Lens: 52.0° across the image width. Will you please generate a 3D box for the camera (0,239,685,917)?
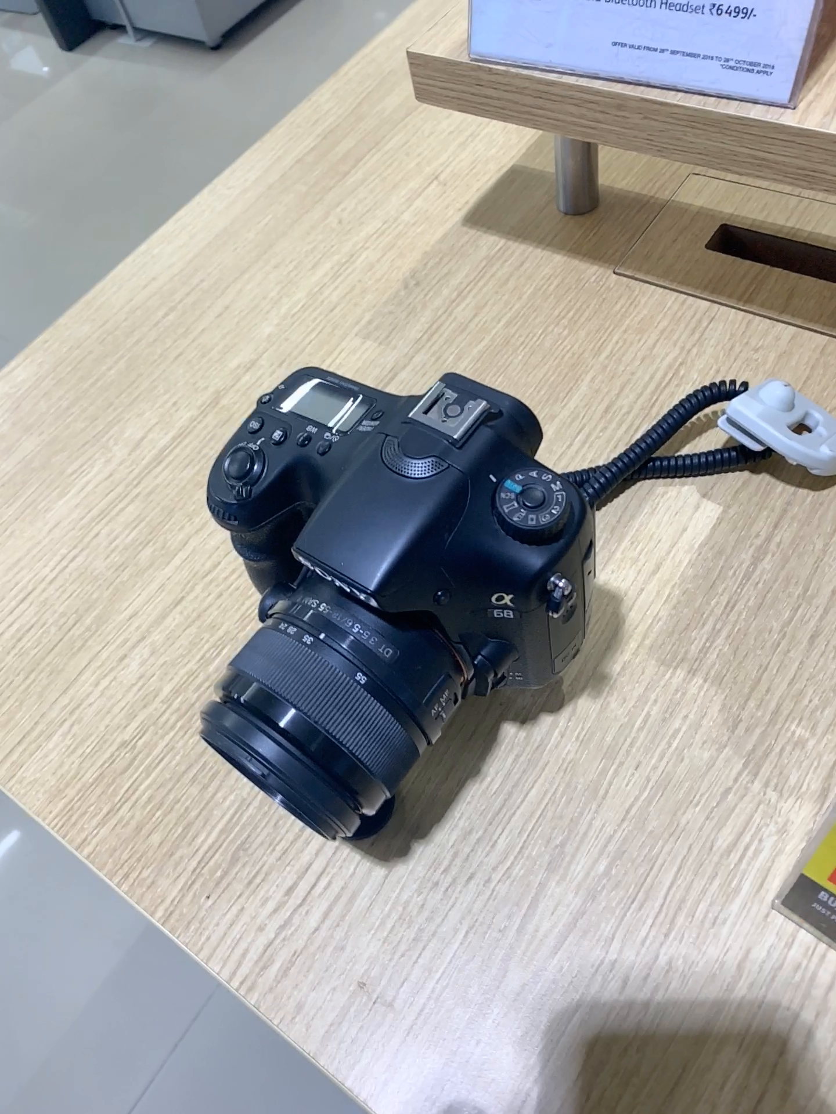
[{"bbox_3d":[-0.018,-0.003,0.294,0.140,0.090,0.170,29,67,28],"label":"camera"}]
